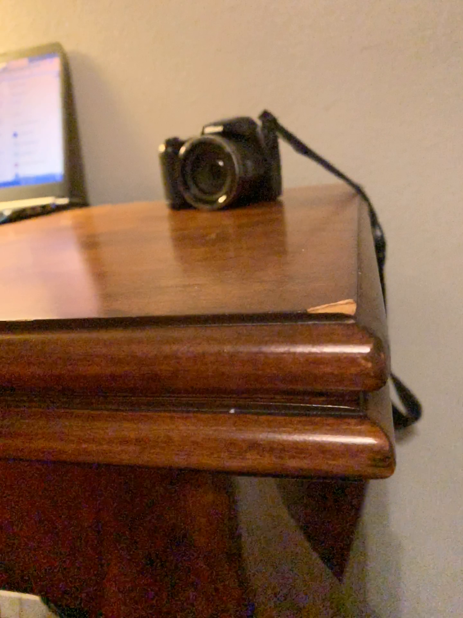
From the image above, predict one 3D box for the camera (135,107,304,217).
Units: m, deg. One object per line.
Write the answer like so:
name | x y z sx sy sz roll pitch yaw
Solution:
camera | -0.006 -0.142 0.479 0.110 0.081 0.123 2 18 30
